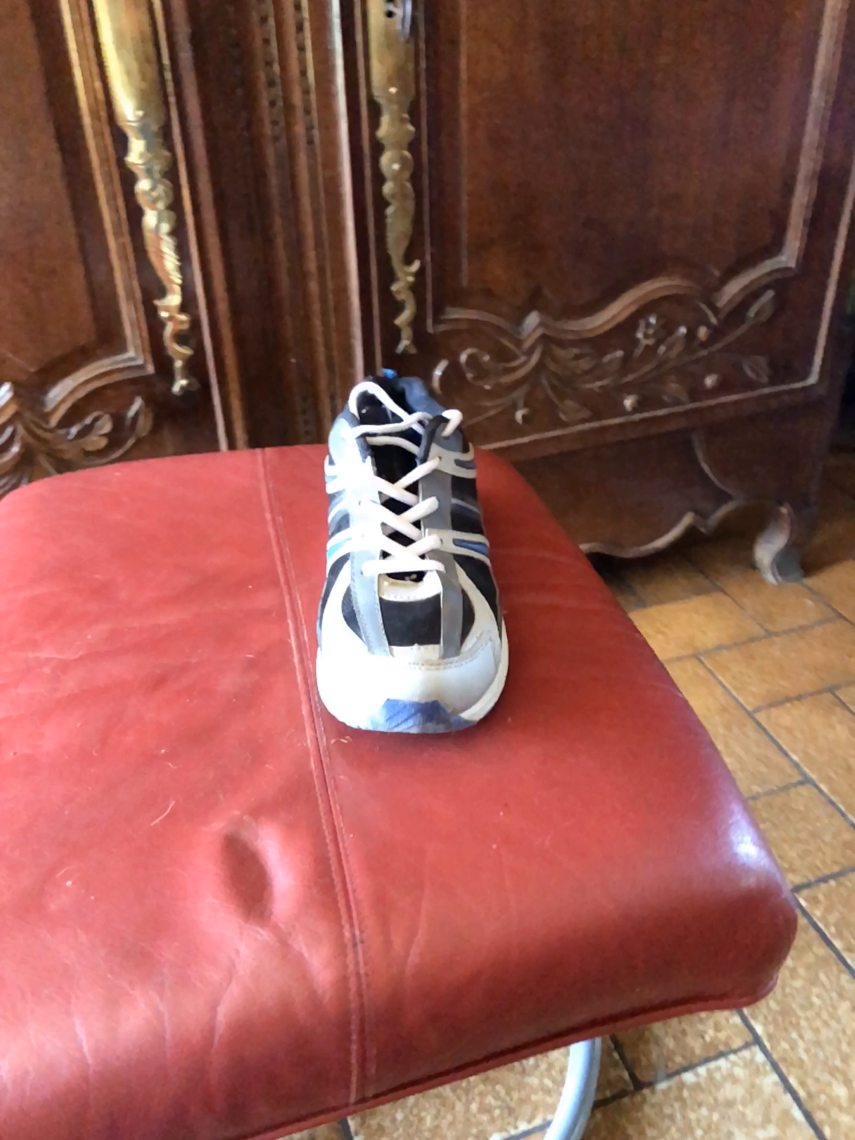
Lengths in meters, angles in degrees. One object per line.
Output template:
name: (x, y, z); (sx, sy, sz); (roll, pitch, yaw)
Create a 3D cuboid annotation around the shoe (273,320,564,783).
shoe: (-0.004, -0.029, 0.497); (0.110, 0.119, 0.262); (-2, 34, 0)
